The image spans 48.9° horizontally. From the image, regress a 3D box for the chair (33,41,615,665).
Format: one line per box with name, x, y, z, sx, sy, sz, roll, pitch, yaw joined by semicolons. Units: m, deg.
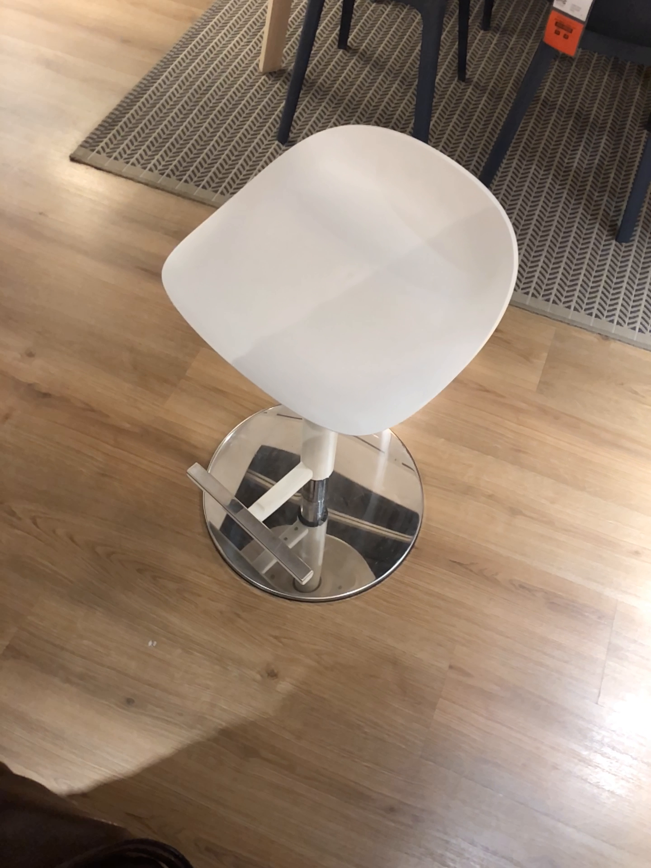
chair;-0.008;-0.063;1.067;0.440;0.699;0.451;37;63;18
